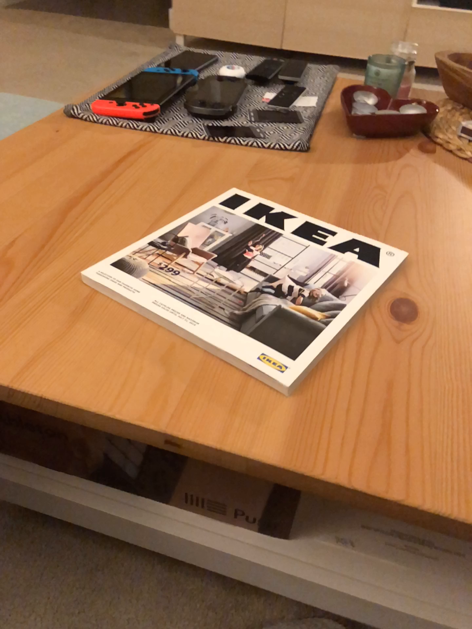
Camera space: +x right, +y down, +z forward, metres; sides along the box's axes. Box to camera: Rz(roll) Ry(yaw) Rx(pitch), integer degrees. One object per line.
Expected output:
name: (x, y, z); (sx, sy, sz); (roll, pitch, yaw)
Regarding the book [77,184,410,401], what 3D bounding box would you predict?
book: (0.014, -0.043, 0.467); (0.211, 0.015, 0.216); (27, 45, 25)
